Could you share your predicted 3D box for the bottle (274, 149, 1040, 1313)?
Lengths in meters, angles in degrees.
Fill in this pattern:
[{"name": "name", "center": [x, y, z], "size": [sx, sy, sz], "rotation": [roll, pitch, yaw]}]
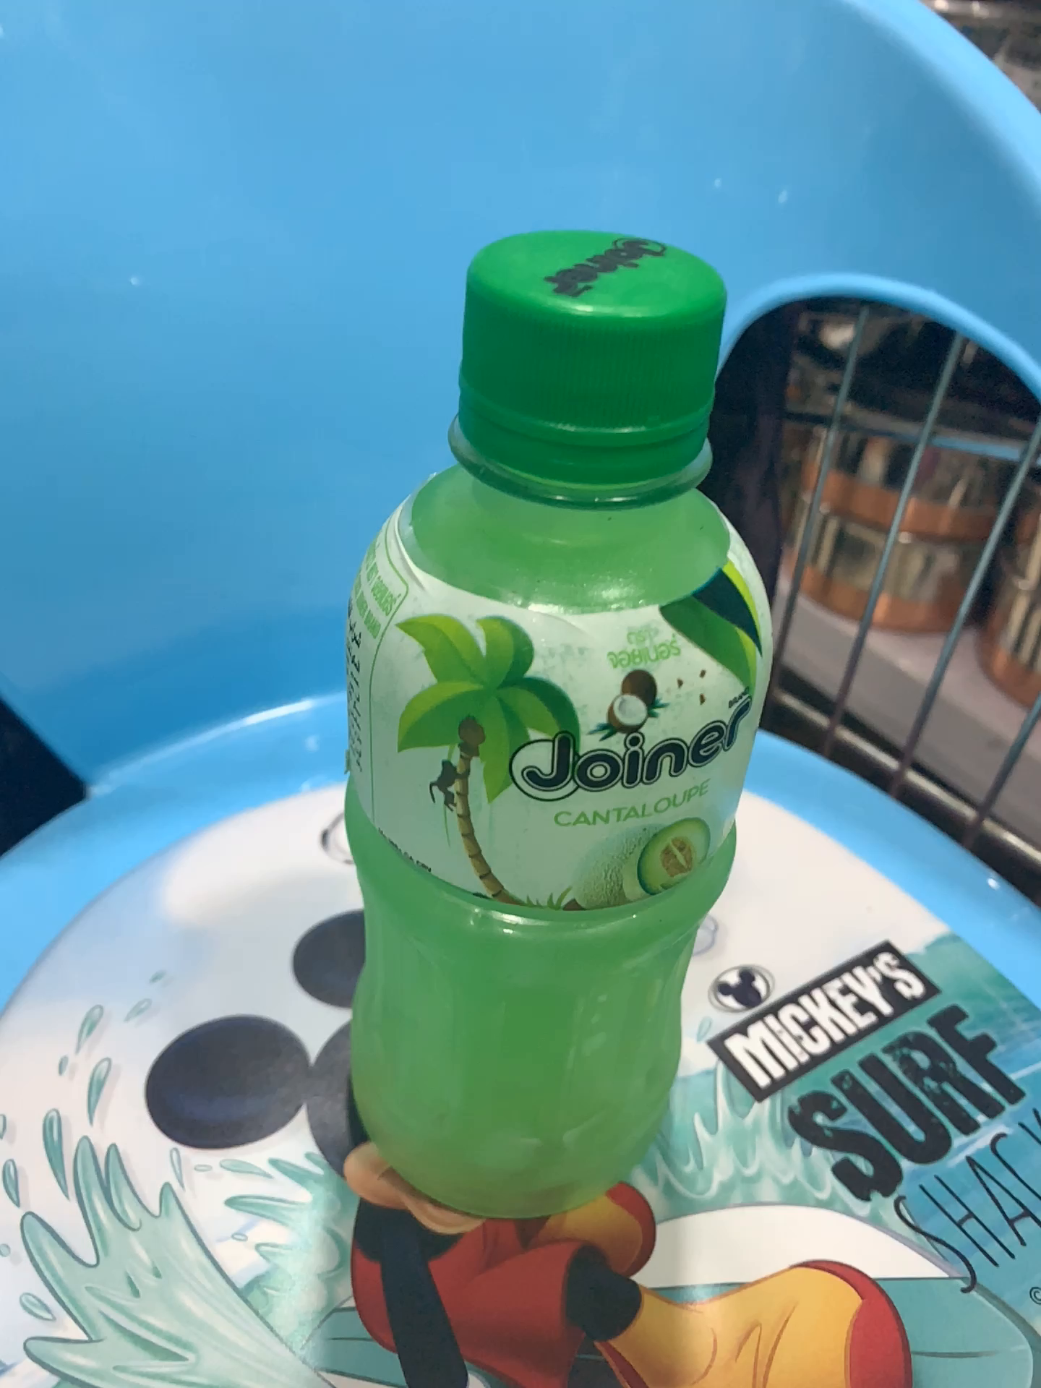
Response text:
[{"name": "bottle", "center": [0.011, 0.008, 0.150], "size": [0.060, 0.139, 0.060], "rotation": [1, 34, -1]}]
